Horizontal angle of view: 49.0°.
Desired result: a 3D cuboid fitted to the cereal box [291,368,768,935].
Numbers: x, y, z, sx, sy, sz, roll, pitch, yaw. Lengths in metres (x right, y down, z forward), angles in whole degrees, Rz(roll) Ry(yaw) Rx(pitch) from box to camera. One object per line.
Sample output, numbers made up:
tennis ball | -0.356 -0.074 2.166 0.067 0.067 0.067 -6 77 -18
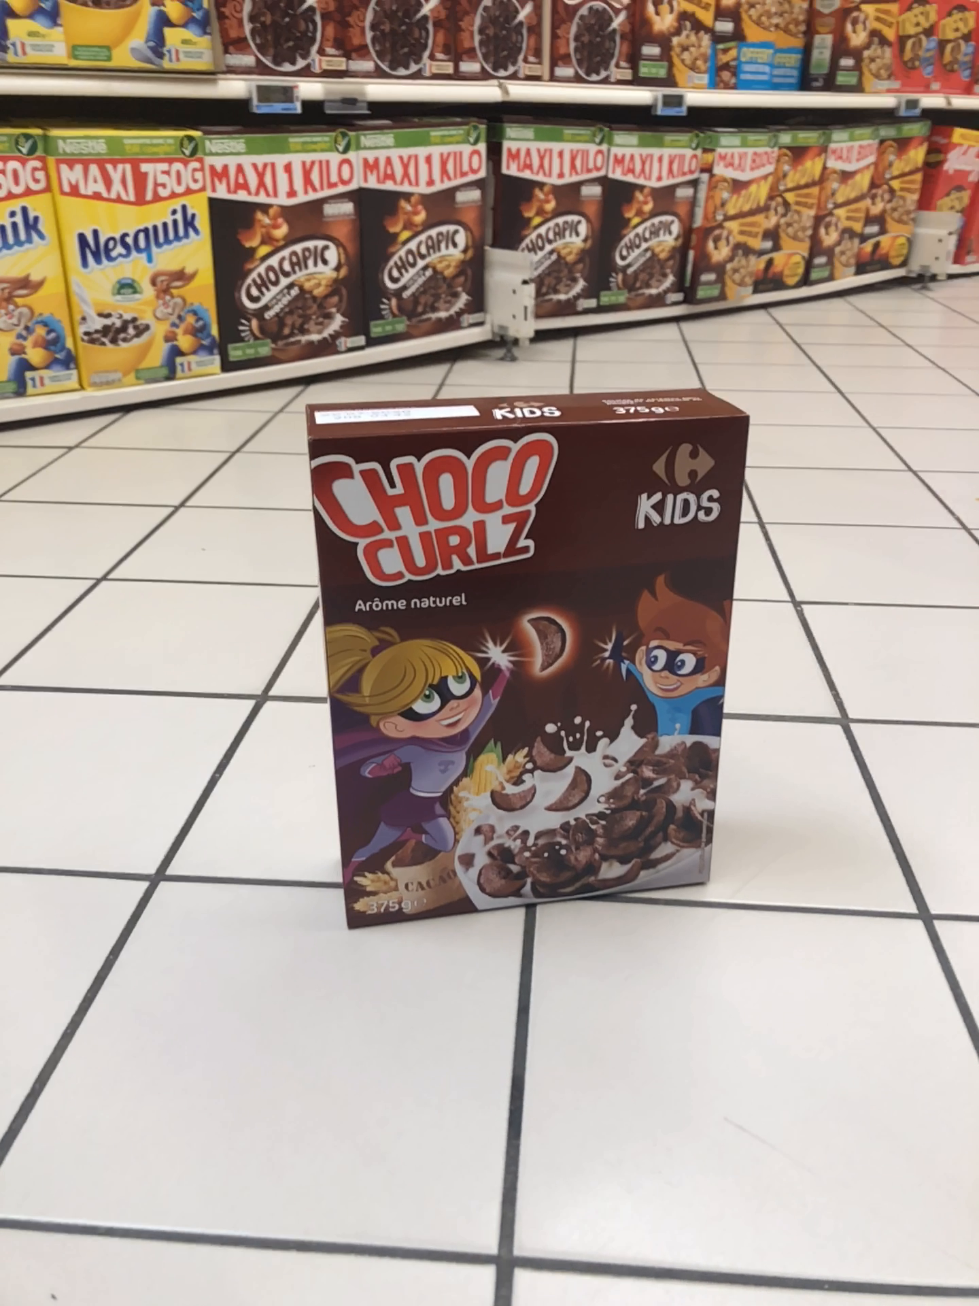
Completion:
cereal box | 0.014 0.001 0.529 0.200 0.259 0.070 -4 26 -10
